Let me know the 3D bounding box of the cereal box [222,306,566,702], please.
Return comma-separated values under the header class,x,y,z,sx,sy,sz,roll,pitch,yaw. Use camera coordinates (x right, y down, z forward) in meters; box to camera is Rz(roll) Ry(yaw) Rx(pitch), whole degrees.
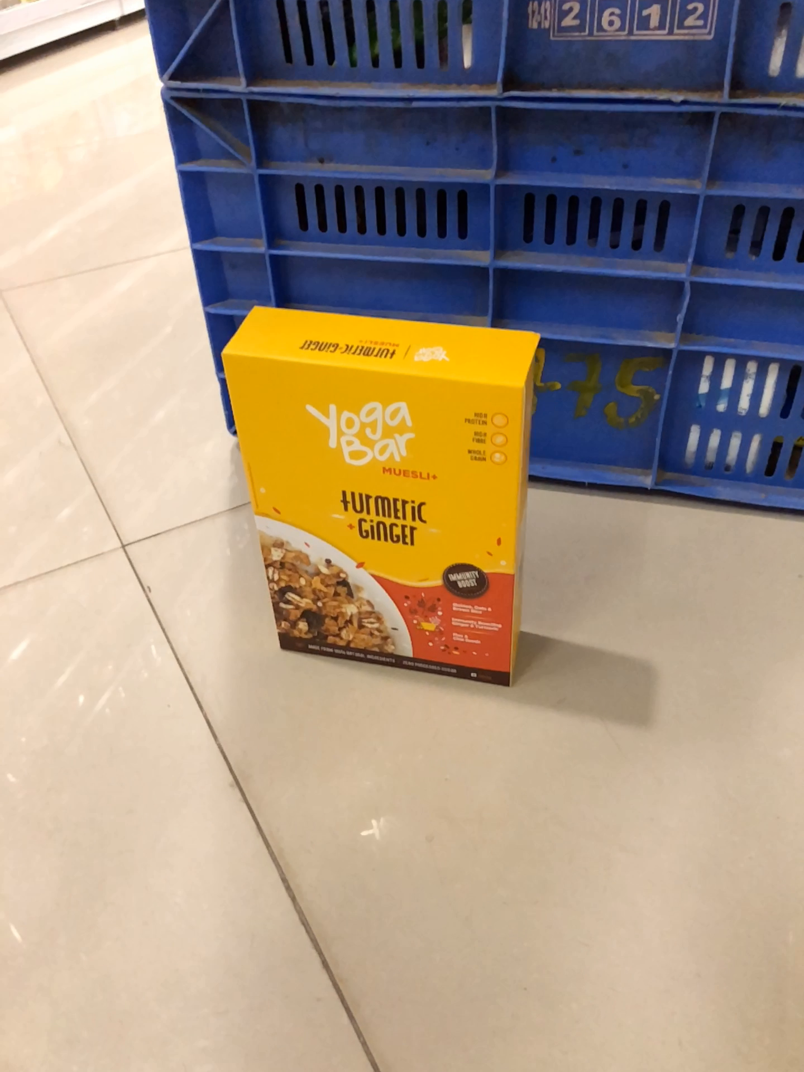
class,x,y,z,sx,sy,sz,roll,pitch,yaw
cereal box,0.002,-0.013,0.534,0.170,0.228,0.060,8,40,14
